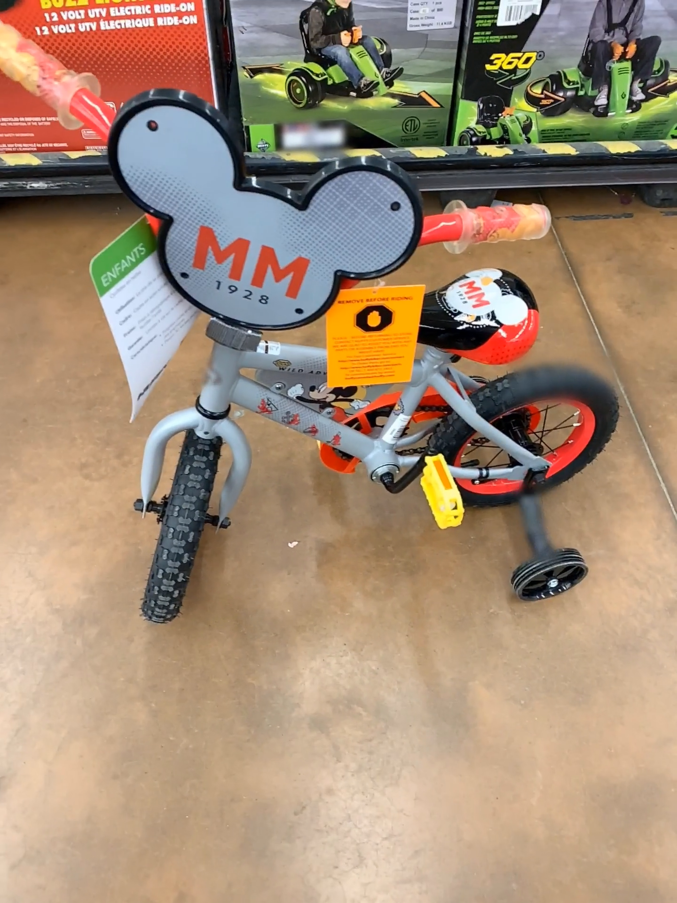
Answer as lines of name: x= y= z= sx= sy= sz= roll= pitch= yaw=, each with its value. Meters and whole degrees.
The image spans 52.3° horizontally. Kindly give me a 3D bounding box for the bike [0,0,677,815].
bike: x=0.088 y=-0.048 z=0.804 sx=0.678 sy=0.741 sz=0.450 roll=-21 pitch=53 yaw=-13
